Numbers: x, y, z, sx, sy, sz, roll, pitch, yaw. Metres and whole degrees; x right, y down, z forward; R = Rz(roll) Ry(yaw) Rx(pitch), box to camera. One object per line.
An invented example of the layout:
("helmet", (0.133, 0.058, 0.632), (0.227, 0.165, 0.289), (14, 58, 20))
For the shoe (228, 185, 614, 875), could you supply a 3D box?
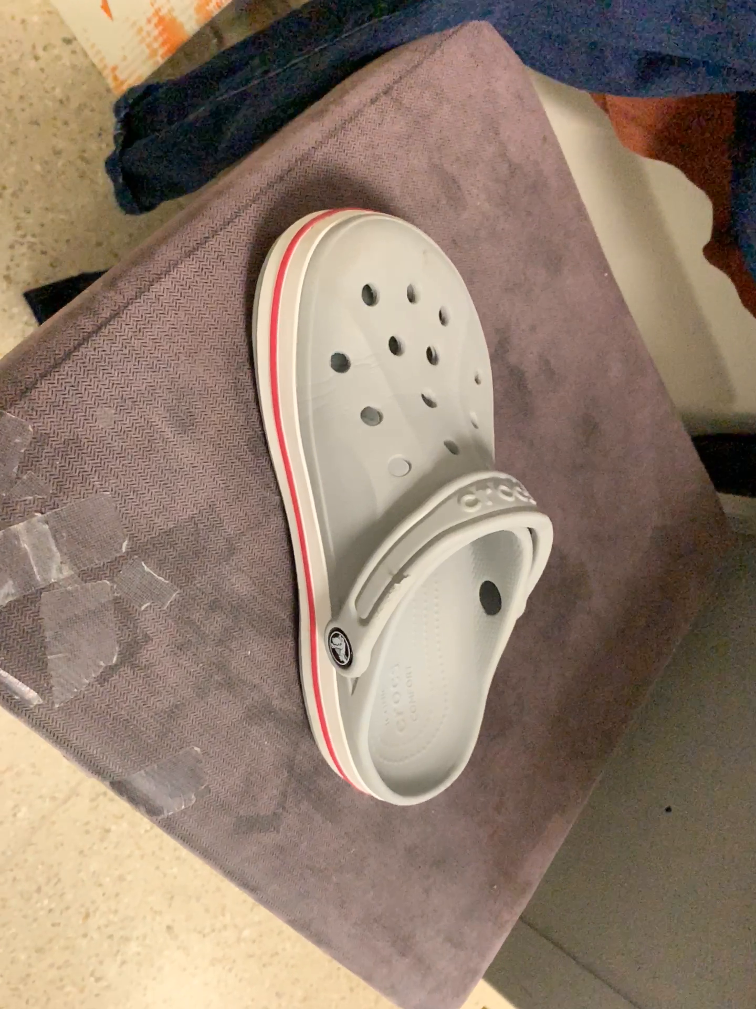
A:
("shoe", (0.025, 0.003, 0.324), (0.120, 0.075, 0.238), (-14, 105, -34))
